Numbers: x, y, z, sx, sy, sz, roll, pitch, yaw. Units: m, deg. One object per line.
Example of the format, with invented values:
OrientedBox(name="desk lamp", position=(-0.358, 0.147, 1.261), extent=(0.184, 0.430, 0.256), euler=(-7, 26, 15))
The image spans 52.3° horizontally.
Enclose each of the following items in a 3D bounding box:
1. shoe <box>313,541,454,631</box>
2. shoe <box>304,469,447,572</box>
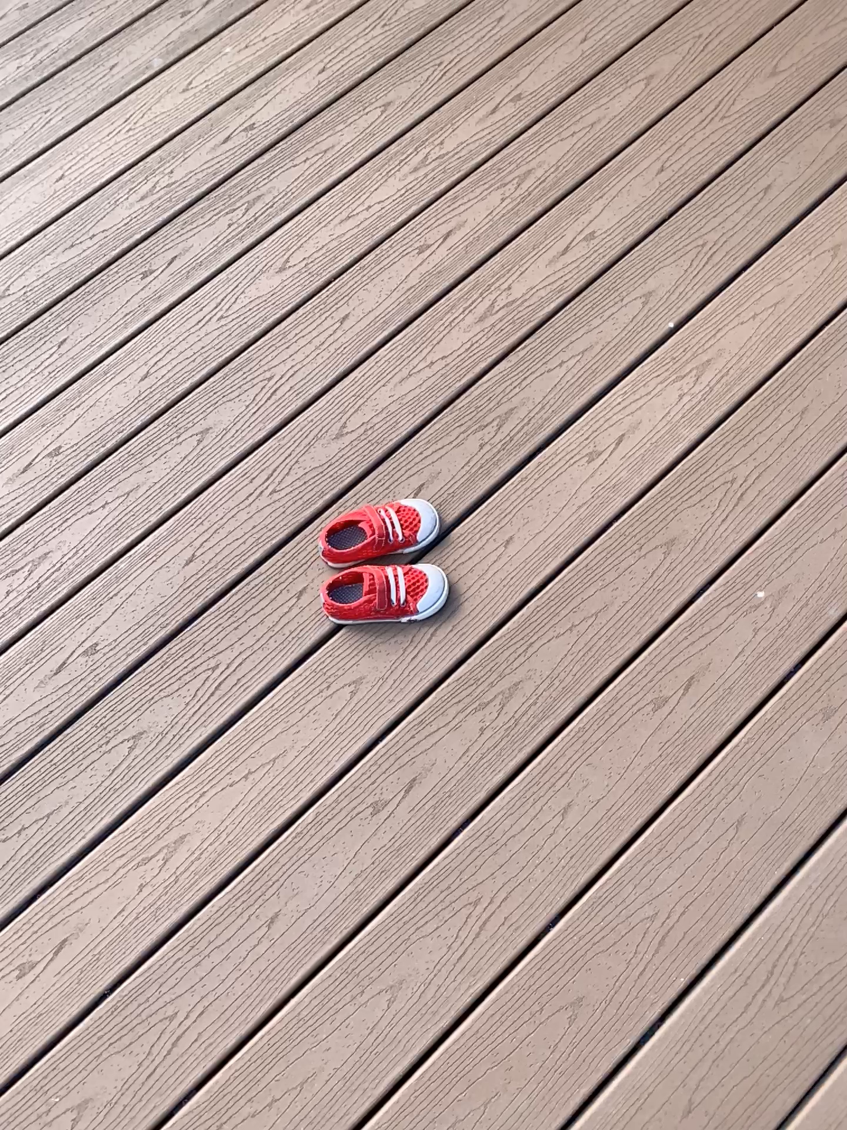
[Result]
OrientedBox(name="shoe", position=(-0.053, 0.029, 1.166), extent=(0.180, 0.060, 0.090), euler=(-5, 68, 3))
OrientedBox(name="shoe", position=(-0.066, -0.062, 1.209), extent=(0.180, 0.060, 0.090), euler=(-13, 67, 0))
